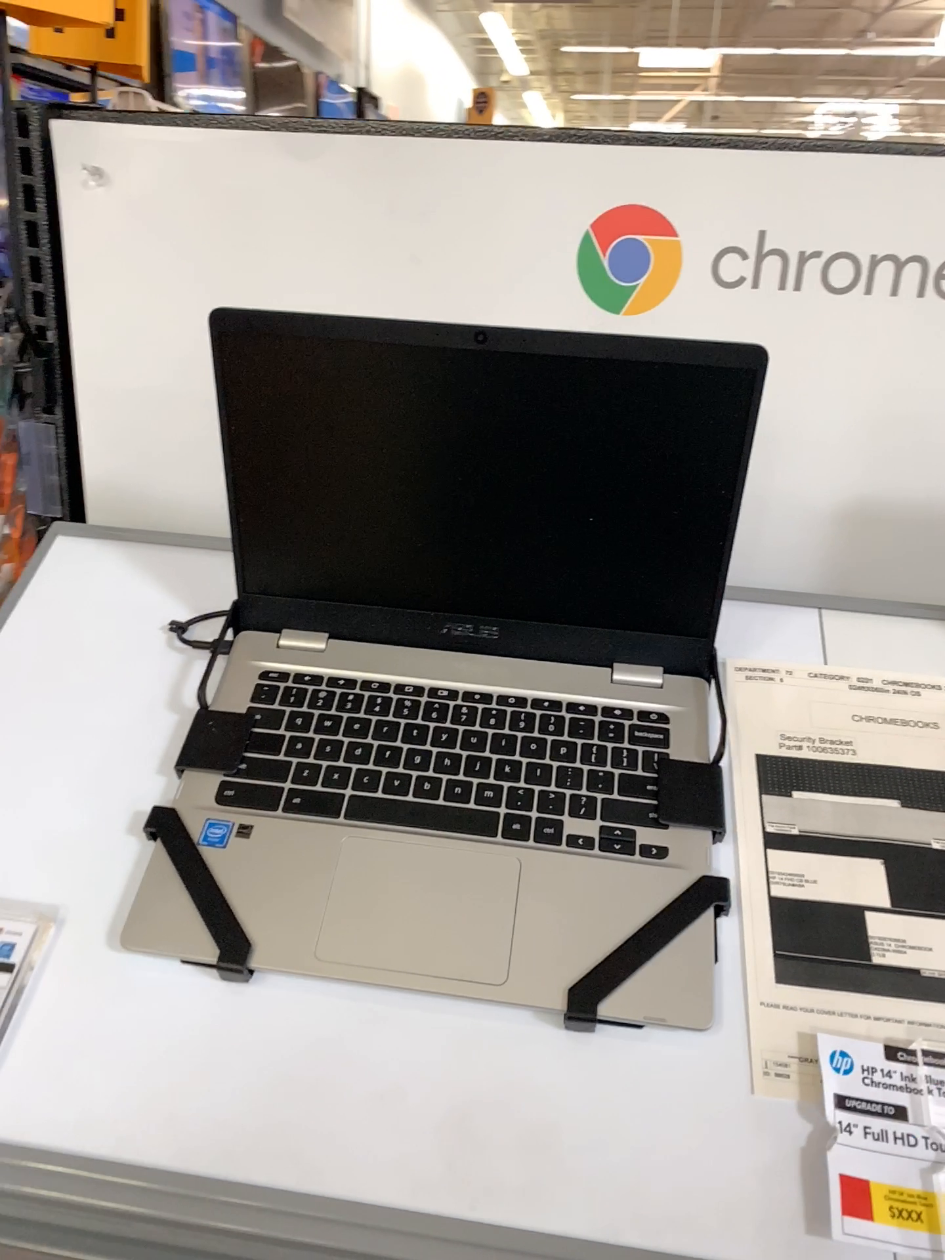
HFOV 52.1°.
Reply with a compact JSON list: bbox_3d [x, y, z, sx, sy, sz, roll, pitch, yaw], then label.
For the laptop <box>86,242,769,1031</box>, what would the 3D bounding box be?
[{"bbox_3d":[-0.011,-0.026,0.560,0.308,0.196,0.294,6,41,5],"label":"laptop"}]
